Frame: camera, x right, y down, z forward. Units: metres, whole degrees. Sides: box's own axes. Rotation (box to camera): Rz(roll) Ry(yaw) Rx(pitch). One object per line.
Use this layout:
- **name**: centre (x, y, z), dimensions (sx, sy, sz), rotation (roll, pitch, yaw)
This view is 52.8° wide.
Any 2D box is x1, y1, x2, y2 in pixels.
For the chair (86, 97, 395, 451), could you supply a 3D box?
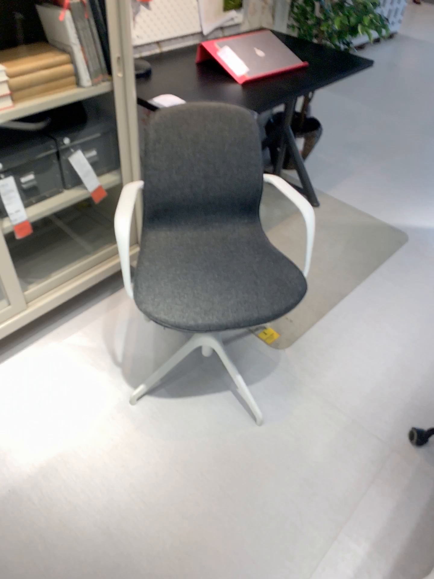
- **chair**: centre (-0.025, -0.048, 1.374), dimensions (0.620, 0.837, 0.642), rotation (-7, 45, -13)
